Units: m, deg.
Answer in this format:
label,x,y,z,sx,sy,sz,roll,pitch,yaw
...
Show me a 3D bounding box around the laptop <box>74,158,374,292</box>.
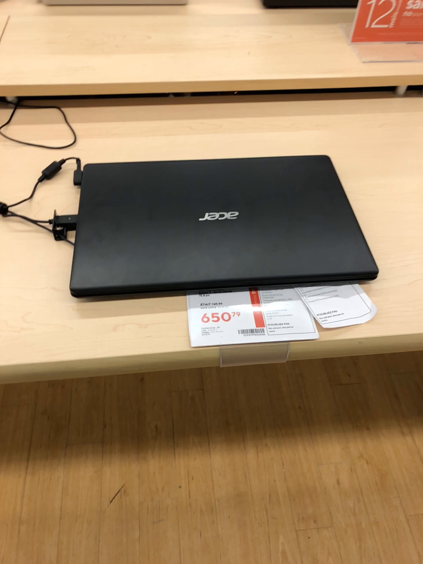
label,x,y,z,sx,sy,sz,roll,pitch,yaw
laptop,0.010,-0.086,0.597,0.346,0.003,0.213,-4,52,-7
